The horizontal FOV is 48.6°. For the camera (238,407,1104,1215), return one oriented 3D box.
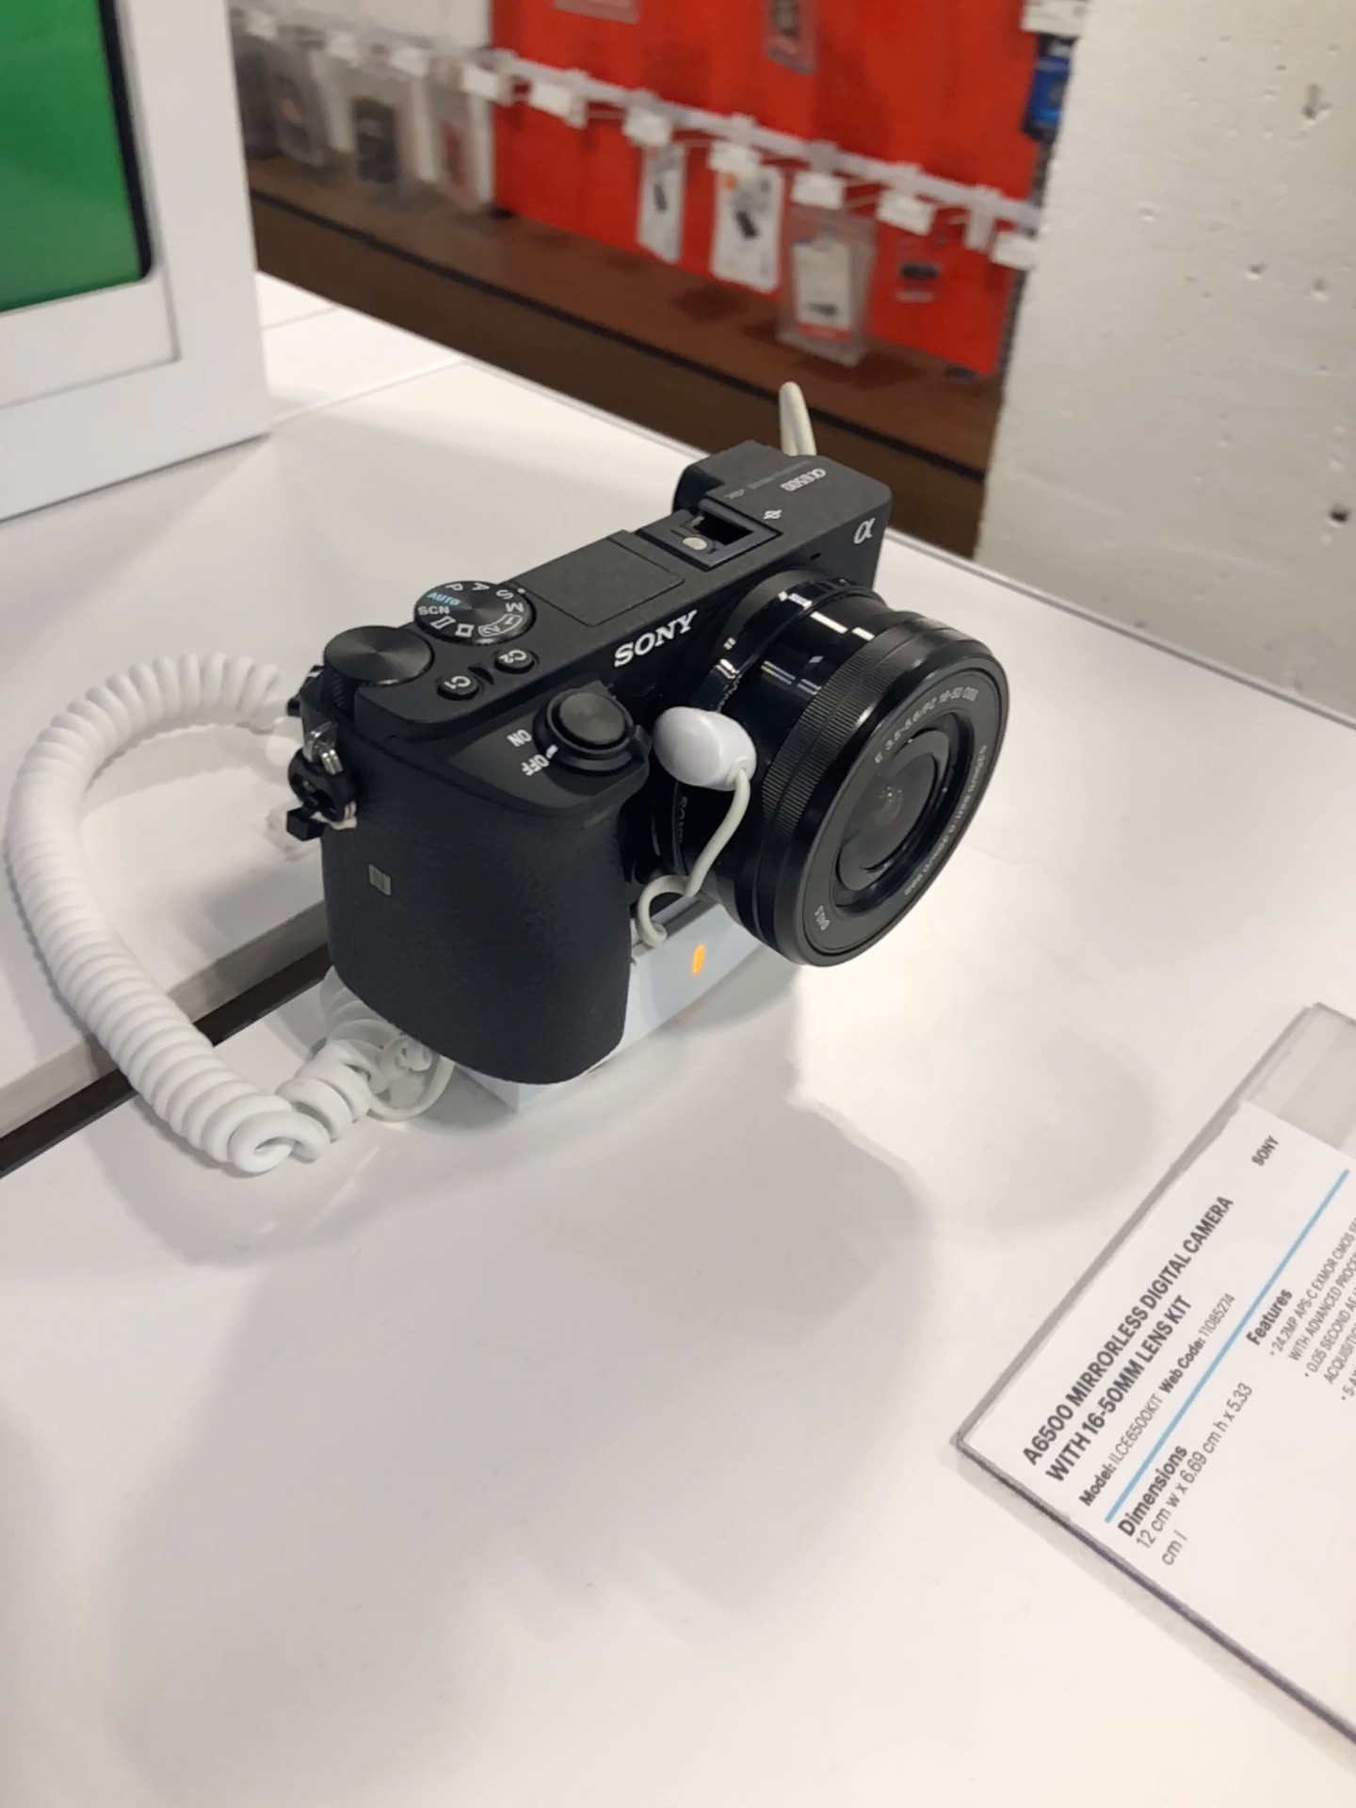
[{"bbox_3d":[0.004,-0.027,0.268,0.070,0.070,0.141,29,45,27],"label":"camera"}]
